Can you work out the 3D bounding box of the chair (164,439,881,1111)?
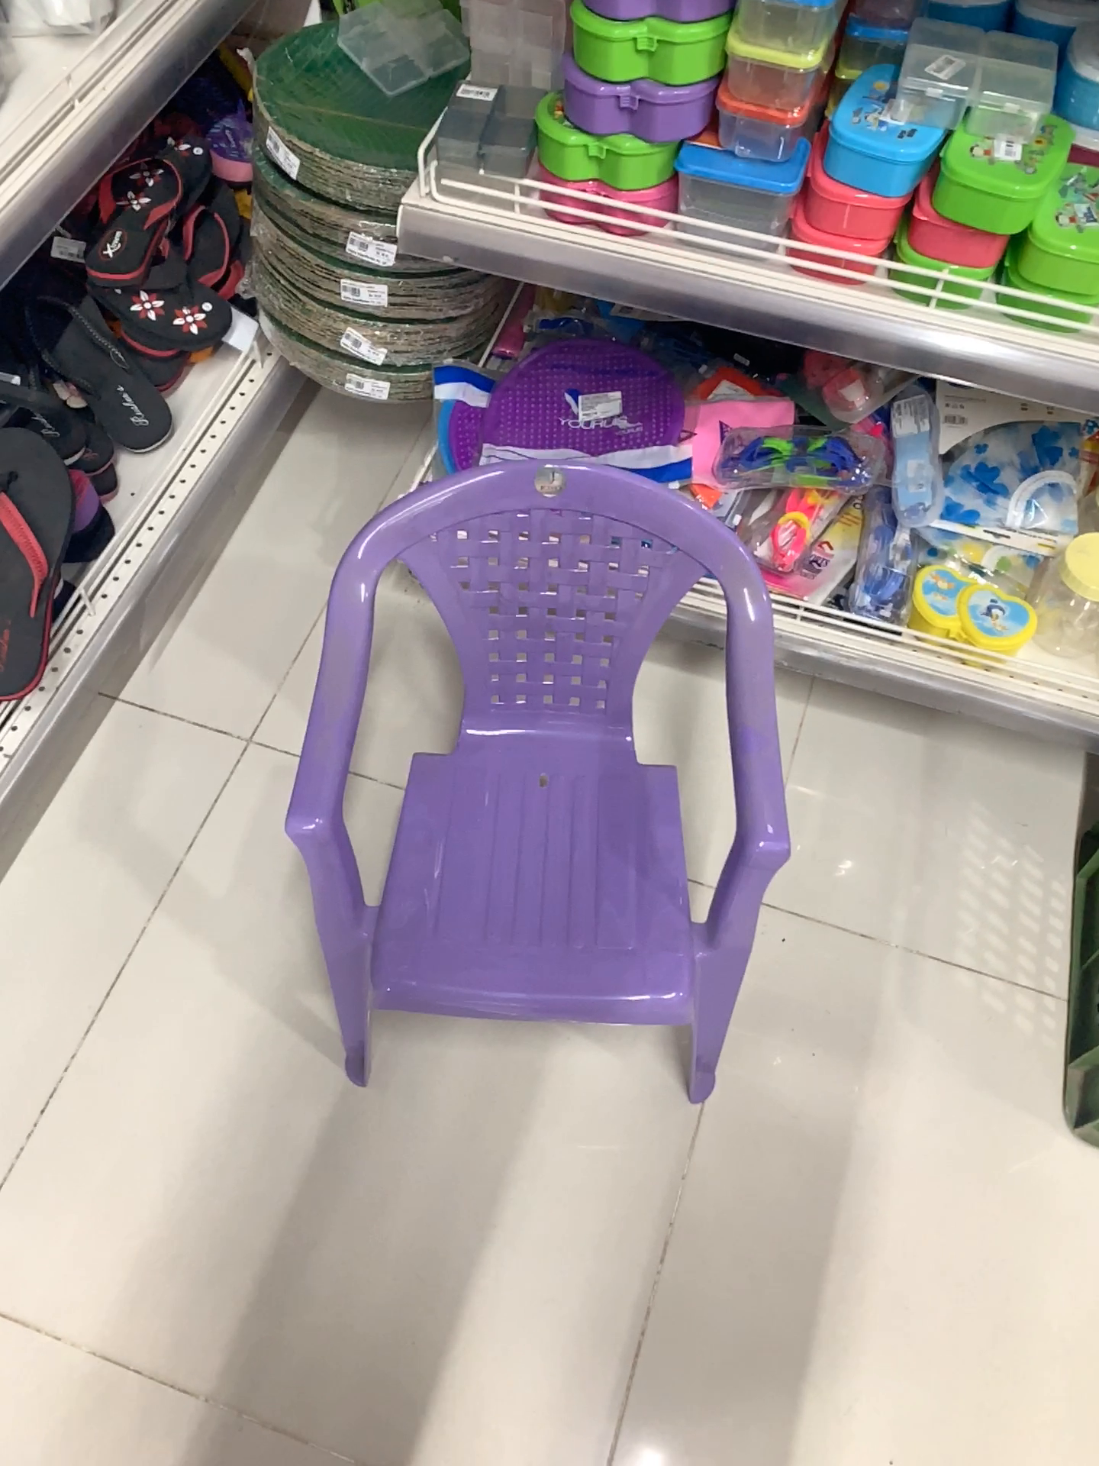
[{"bbox_3d":[-0.015,0.059,0.943,0.420,0.429,0.401,1,59,0],"label":"chair"}]
